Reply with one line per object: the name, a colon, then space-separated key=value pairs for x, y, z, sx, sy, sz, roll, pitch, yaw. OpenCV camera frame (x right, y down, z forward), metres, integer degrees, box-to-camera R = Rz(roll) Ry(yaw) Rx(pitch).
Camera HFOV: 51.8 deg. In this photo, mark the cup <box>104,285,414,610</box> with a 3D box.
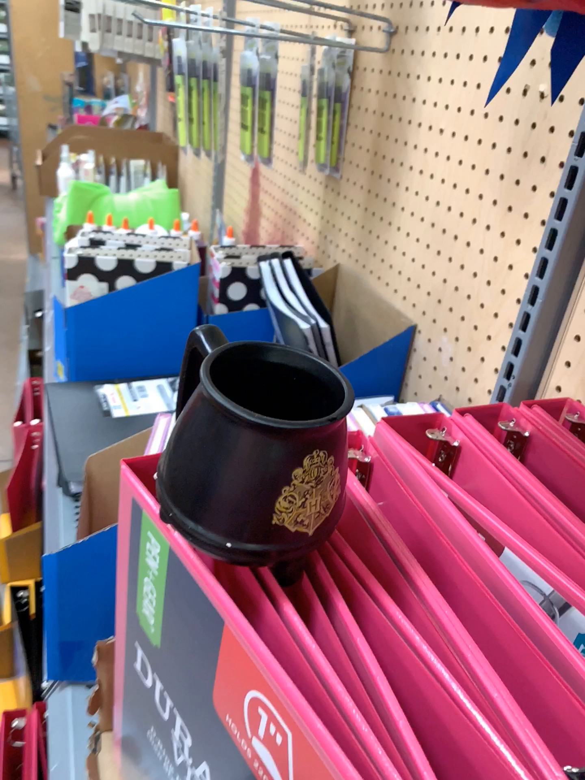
cup: x=-0.026 y=0.017 z=0.308 sx=0.097 sy=0.093 sz=0.122 roll=-14 pitch=37 yaw=-34
